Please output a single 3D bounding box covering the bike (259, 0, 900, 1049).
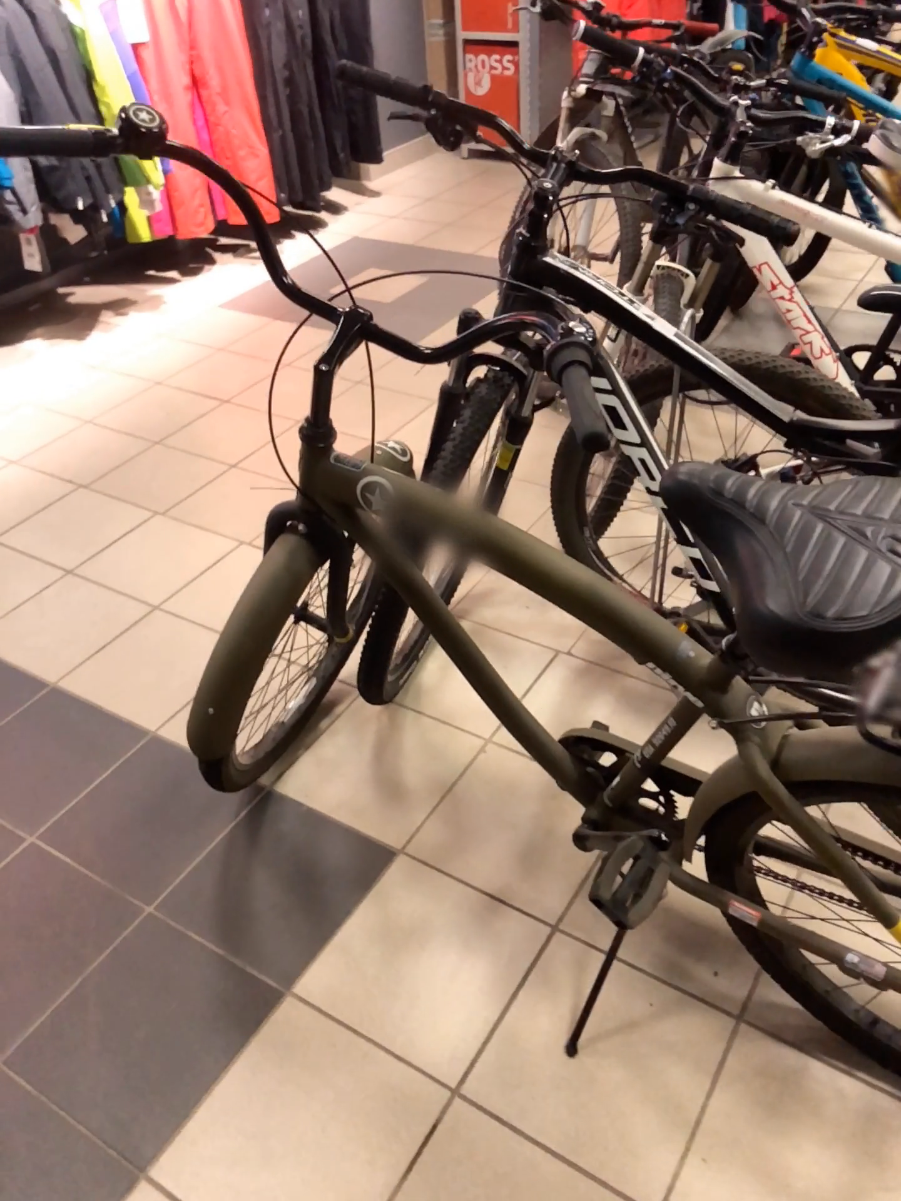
[{"bbox_3d":[0.344,-0.311,1.520,0.976,1.228,0.665,34,51,30],"label":"bike"}]

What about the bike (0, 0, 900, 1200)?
[{"bbox_3d":[0.297,-0.039,1.177,0.833,1.130,1.501,-29,48,-30],"label":"bike"}]
